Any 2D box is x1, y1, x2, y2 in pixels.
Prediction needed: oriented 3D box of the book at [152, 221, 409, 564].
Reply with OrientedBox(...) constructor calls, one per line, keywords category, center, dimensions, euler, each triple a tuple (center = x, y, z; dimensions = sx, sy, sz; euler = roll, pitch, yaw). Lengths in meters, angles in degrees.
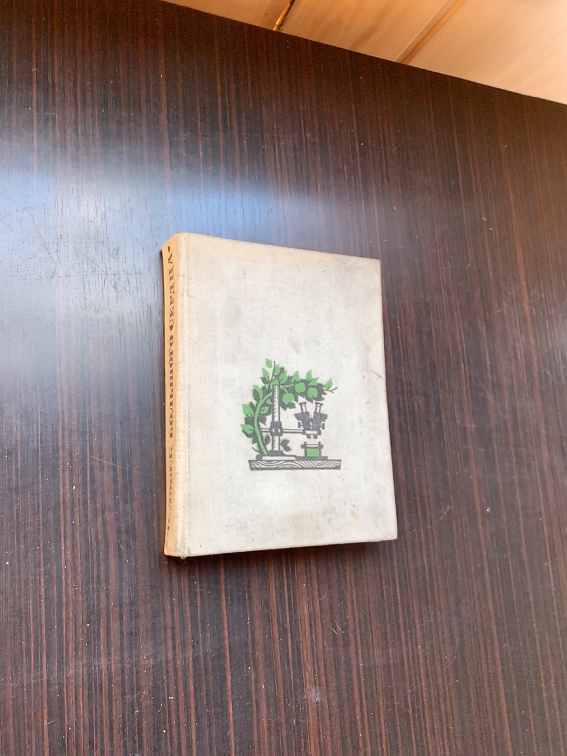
OrientedBox(category="book", center=(-0.002, 0.007, 0.326), dimensions=(0.136, 0.027, 0.169), euler=(1, 80, -24))
